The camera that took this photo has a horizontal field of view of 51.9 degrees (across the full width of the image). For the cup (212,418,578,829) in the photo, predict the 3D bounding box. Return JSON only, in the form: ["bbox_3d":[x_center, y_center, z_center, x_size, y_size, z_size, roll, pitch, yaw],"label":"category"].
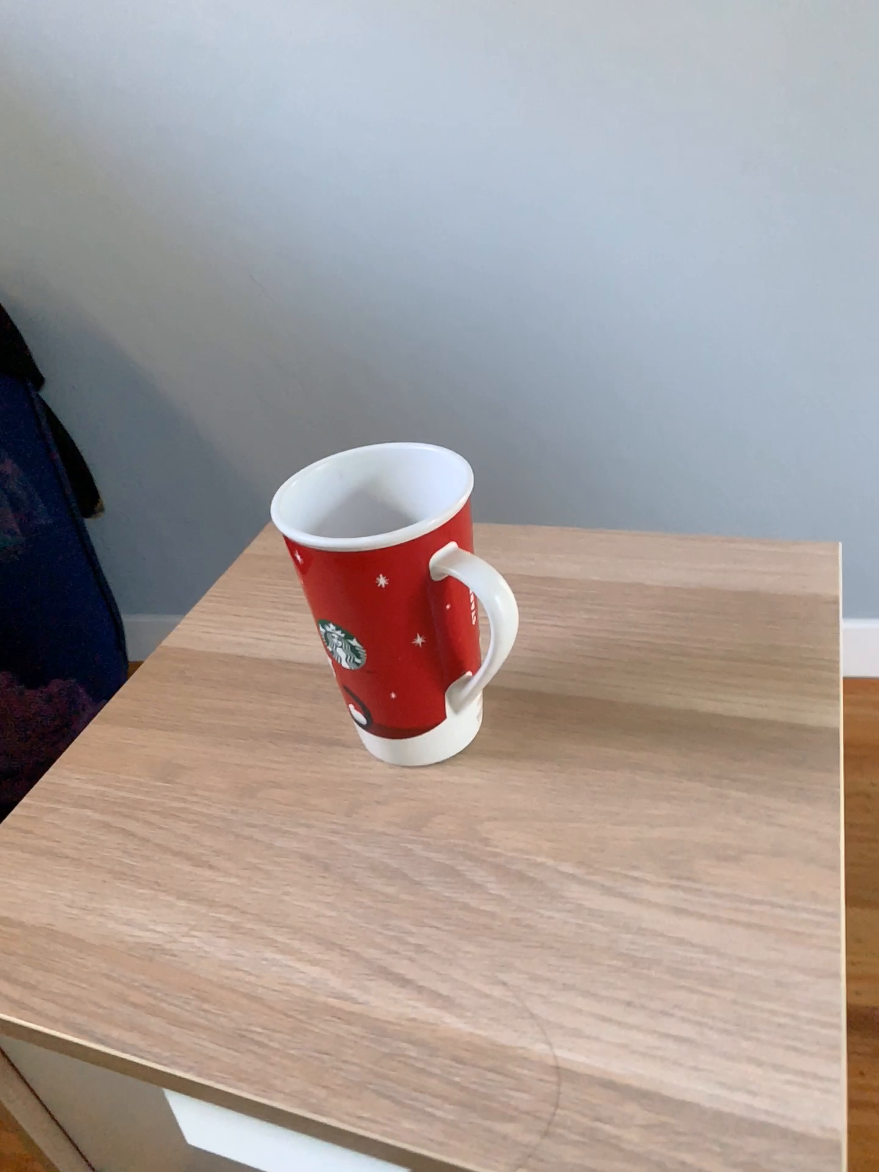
[{"bbox_3d":[-0.015,0.014,0.434,0.131,0.149,0.080,17,43,34],"label":"cup"}]
